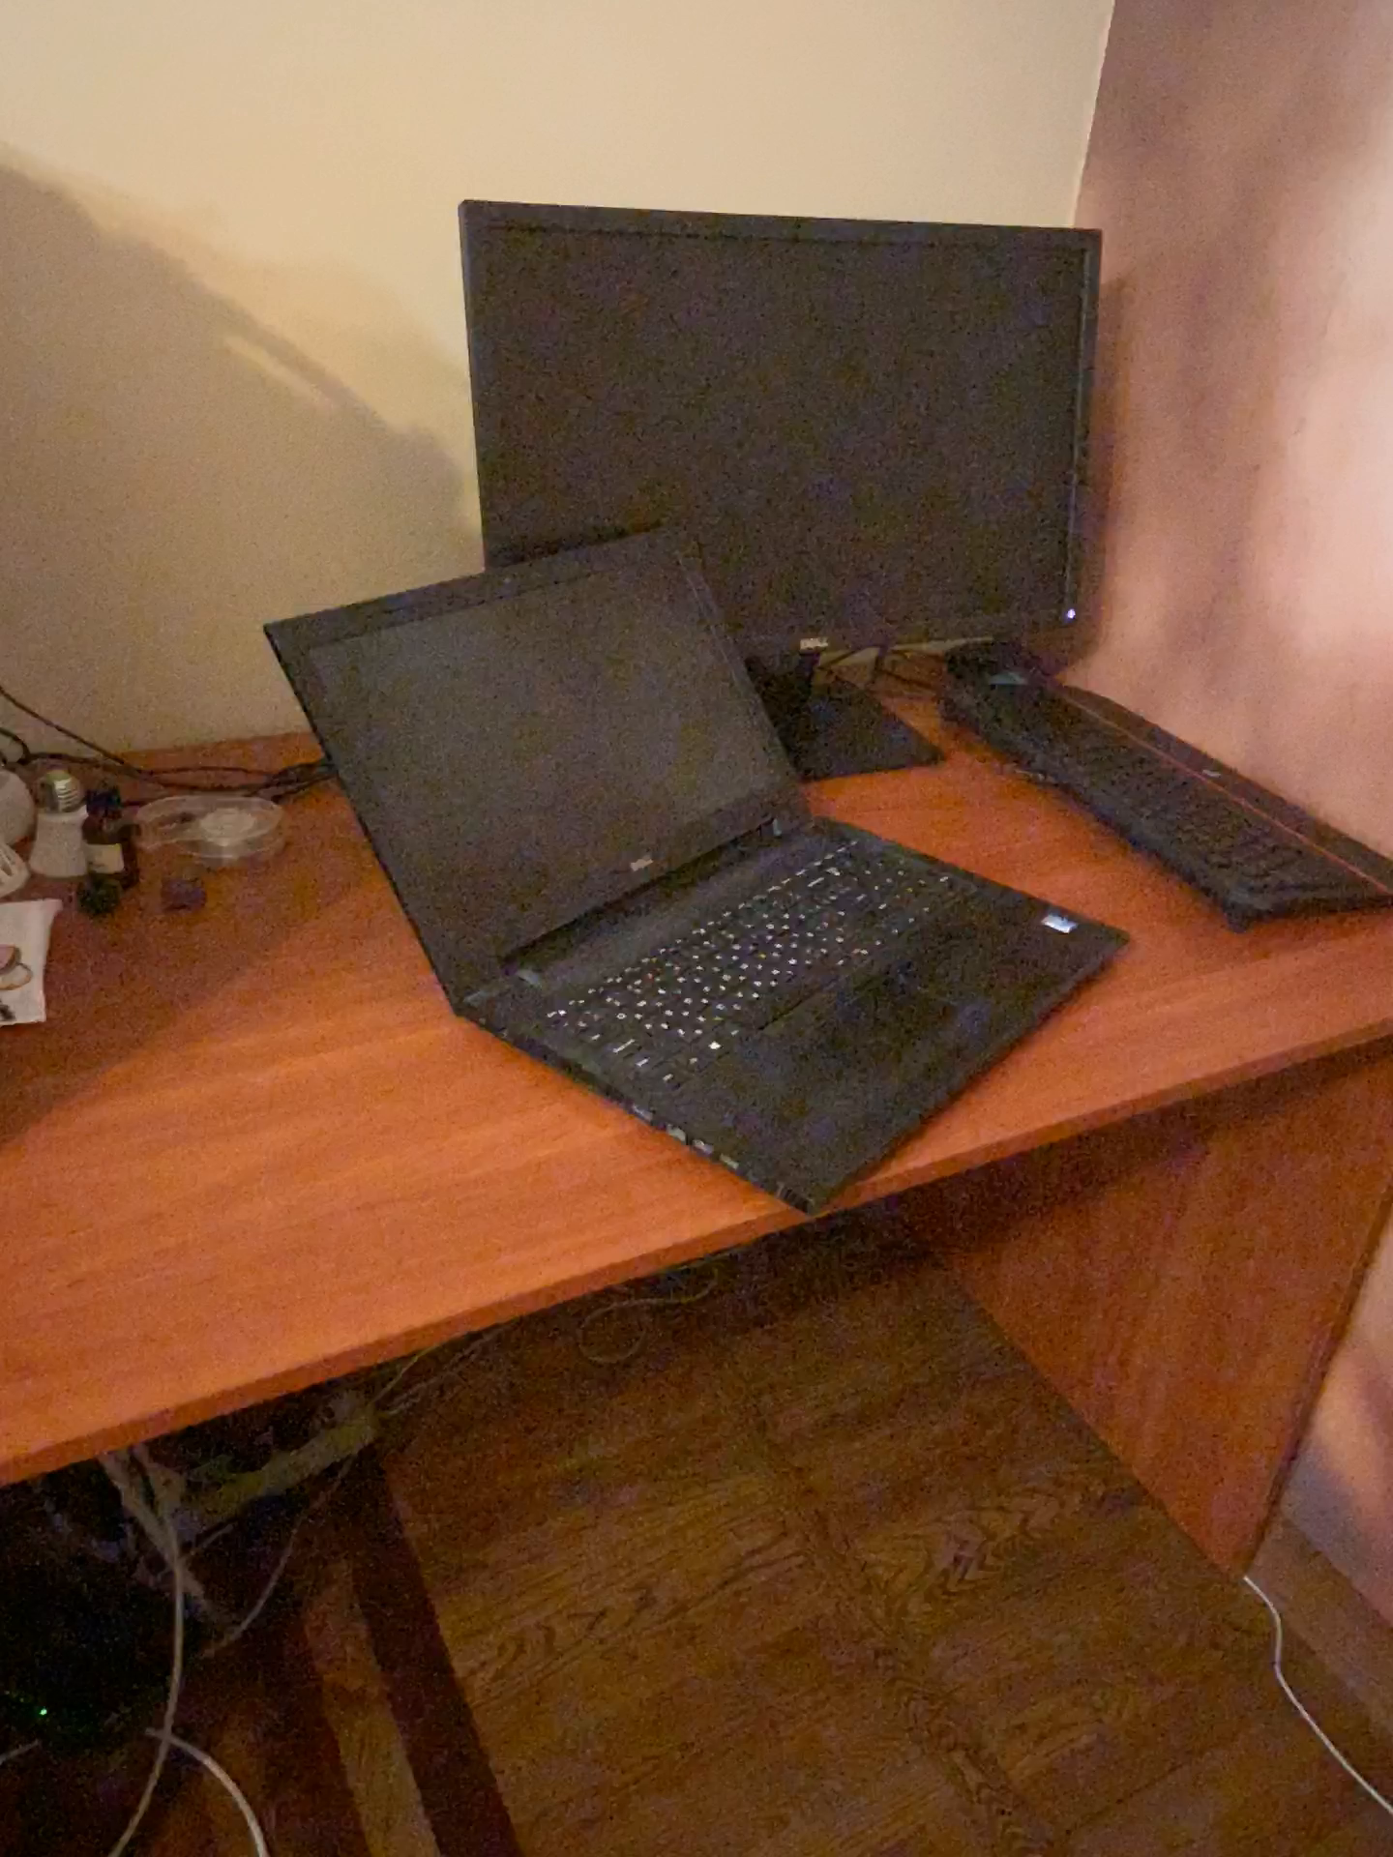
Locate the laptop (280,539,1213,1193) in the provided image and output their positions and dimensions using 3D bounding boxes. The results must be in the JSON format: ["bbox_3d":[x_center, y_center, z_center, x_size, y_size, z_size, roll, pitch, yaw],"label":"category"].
[{"bbox_3d":[0.028,-0.080,0.848,0.393,0.181,0.357,24,34,32],"label":"laptop"}]
